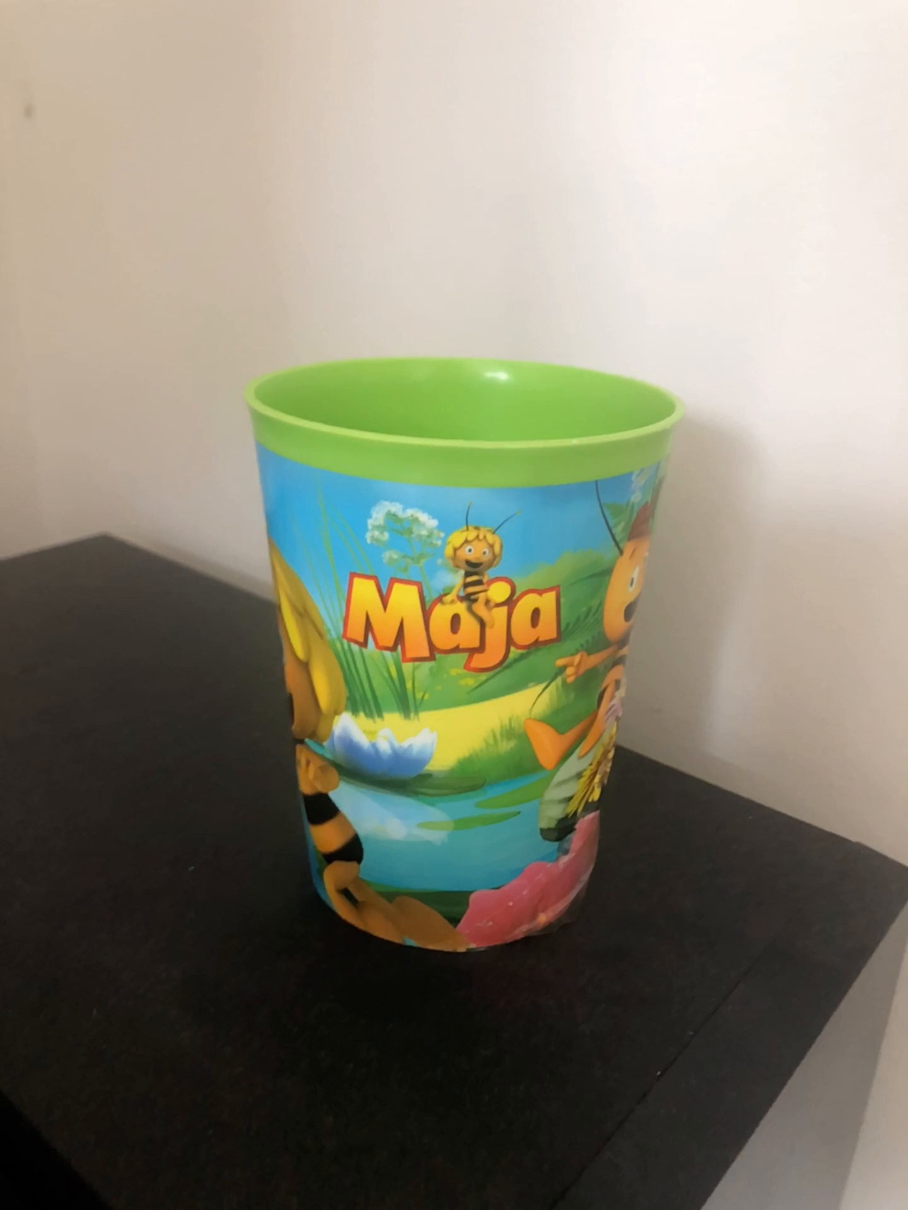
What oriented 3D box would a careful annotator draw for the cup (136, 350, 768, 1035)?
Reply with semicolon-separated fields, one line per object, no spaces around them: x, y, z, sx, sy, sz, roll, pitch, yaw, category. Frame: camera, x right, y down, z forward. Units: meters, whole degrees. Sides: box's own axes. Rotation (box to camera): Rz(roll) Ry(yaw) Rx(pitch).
0.001;0.005;0.197;0.080;0.090;0.080;2;22;-1;cup
